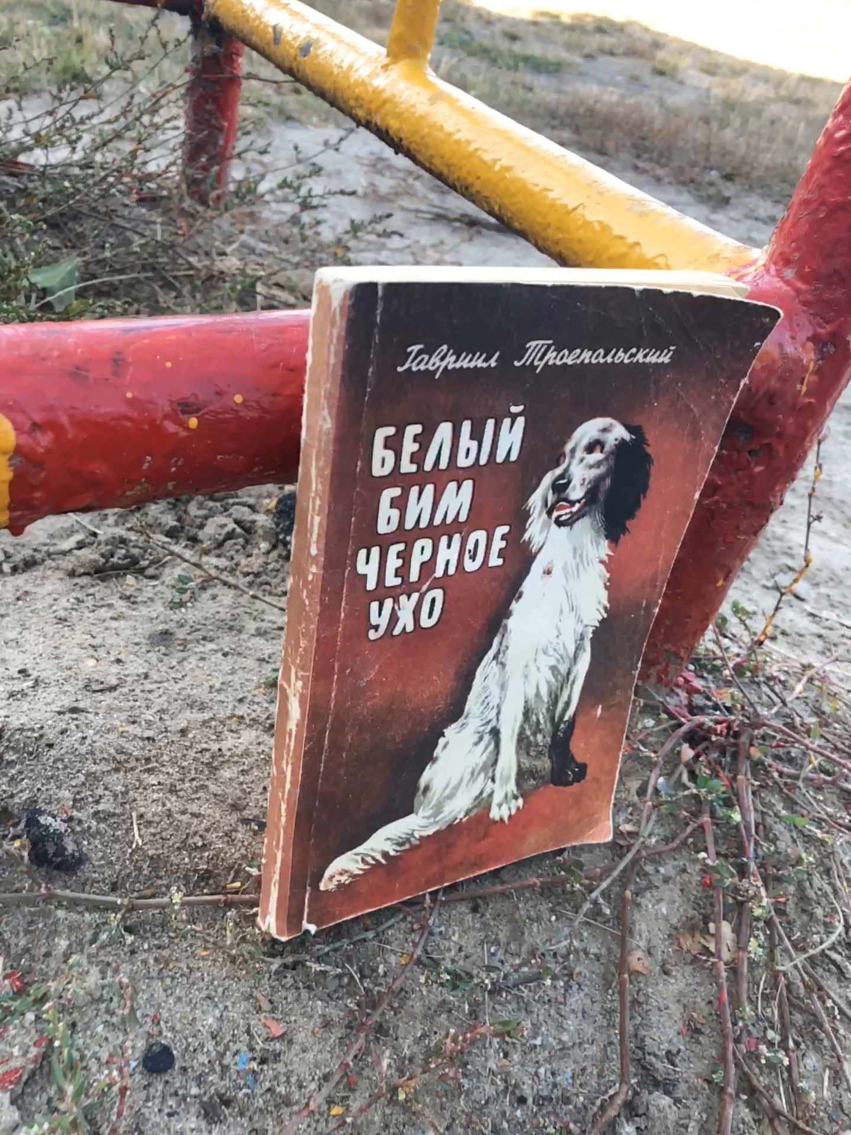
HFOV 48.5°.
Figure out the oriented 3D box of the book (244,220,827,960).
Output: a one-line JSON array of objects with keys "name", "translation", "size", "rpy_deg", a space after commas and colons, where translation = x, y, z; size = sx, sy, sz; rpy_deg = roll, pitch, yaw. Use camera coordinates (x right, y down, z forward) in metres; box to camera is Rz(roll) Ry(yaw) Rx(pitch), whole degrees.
[{"name": "book", "translation": [0.022, 0.011, 0.262], "size": [0.130, 0.196, 0.030], "rpy_deg": [-9, 35, -29]}]
